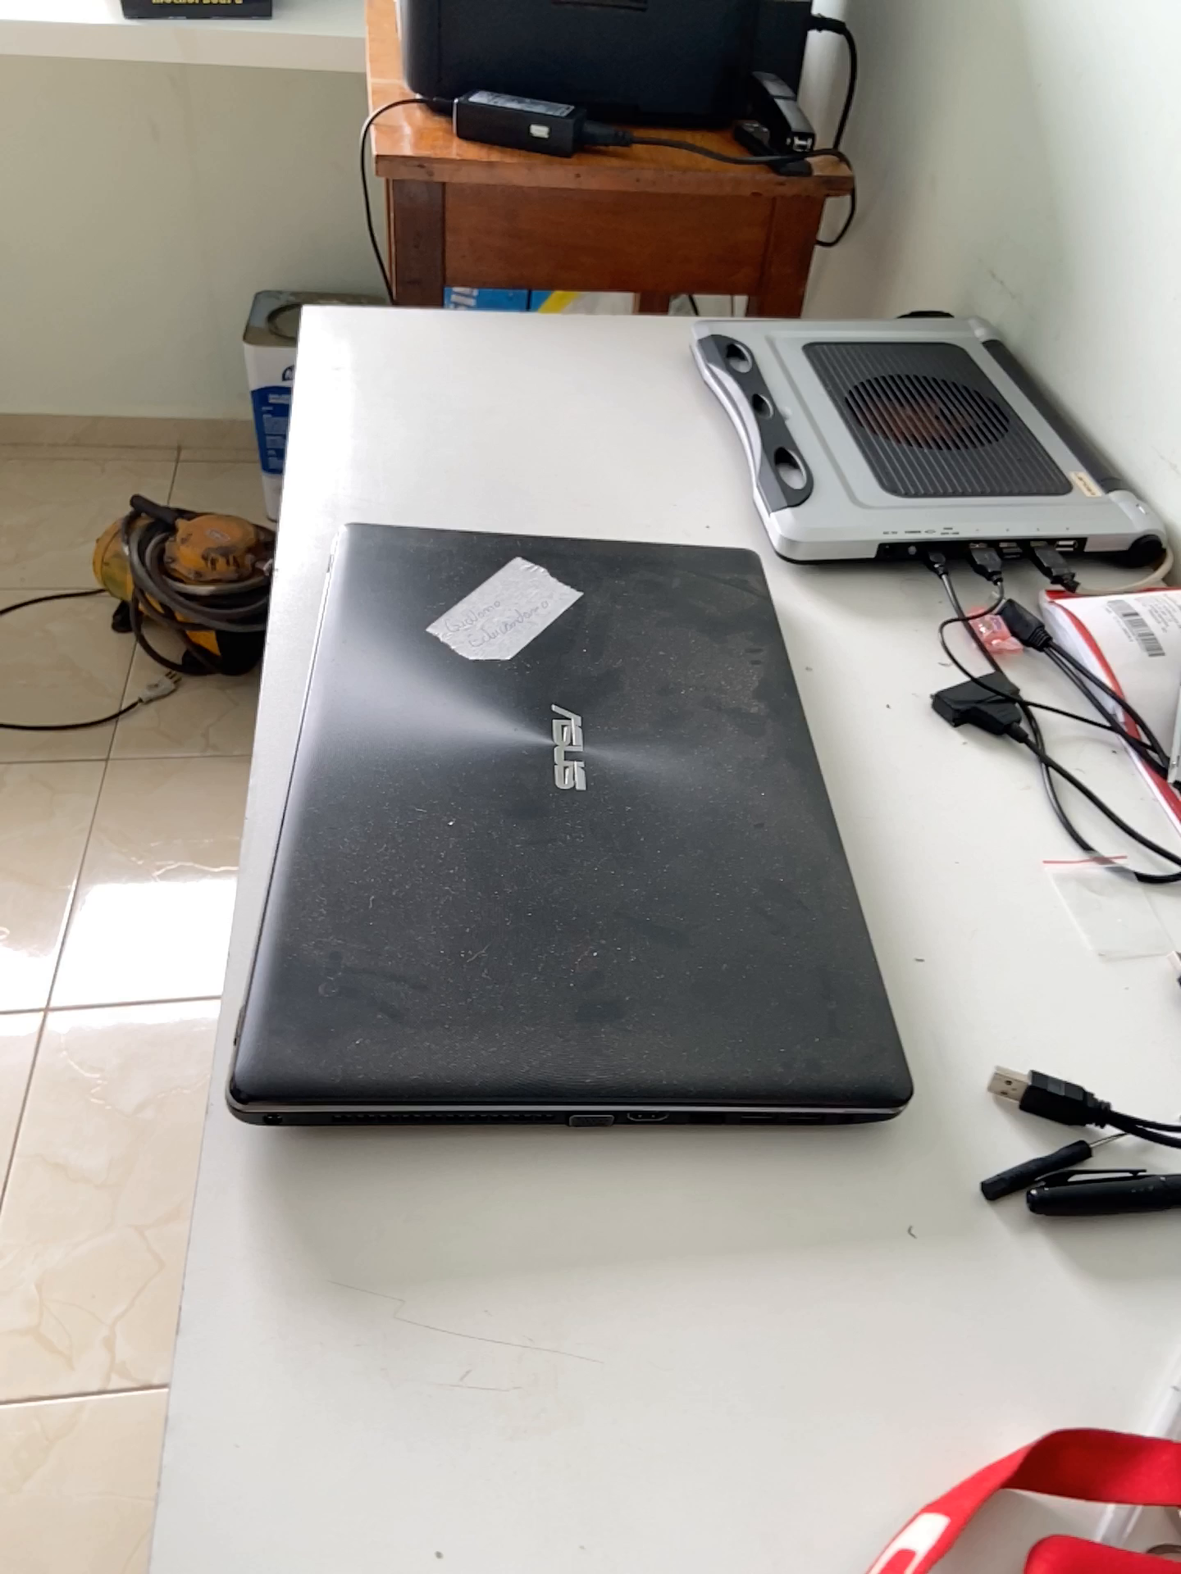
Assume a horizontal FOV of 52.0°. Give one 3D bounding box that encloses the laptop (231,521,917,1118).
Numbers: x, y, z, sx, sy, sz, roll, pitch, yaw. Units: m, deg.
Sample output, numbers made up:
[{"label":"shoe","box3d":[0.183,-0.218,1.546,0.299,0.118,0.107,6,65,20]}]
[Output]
[{"label":"laptop","box3d":[-0.014,-0.016,0.584,0.250,0.007,0.387,2,43,-6]}]
